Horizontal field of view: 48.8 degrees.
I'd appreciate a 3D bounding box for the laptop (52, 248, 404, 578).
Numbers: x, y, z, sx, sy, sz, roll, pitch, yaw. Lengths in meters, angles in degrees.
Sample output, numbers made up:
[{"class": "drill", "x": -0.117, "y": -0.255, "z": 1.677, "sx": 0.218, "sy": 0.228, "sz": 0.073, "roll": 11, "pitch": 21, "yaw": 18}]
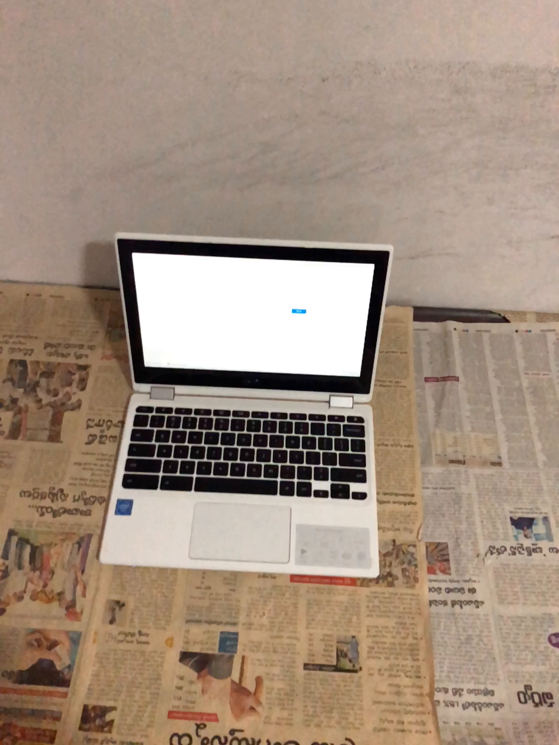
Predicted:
[{"class": "laptop", "x": -0.034, "y": 0.039, "z": 0.615, "sx": 0.268, "sy": 0.168, "sz": 0.278, "roll": 3, "pitch": 58, "yaw": 1}]
